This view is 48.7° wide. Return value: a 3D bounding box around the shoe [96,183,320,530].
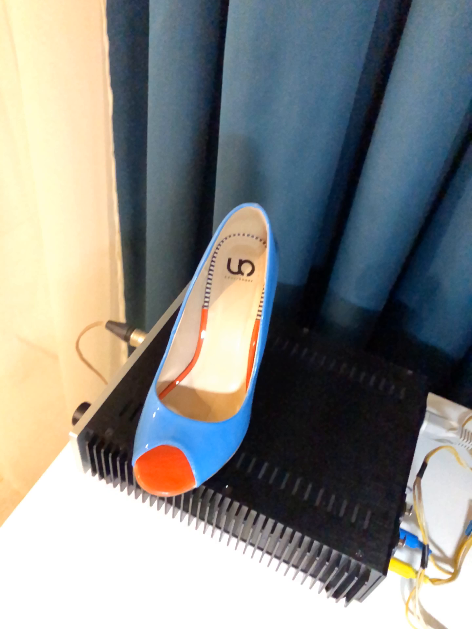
[{"bbox_3d":[-0.012,0.023,0.416,0.080,0.149,0.221,18,46,10],"label":"shoe"}]
